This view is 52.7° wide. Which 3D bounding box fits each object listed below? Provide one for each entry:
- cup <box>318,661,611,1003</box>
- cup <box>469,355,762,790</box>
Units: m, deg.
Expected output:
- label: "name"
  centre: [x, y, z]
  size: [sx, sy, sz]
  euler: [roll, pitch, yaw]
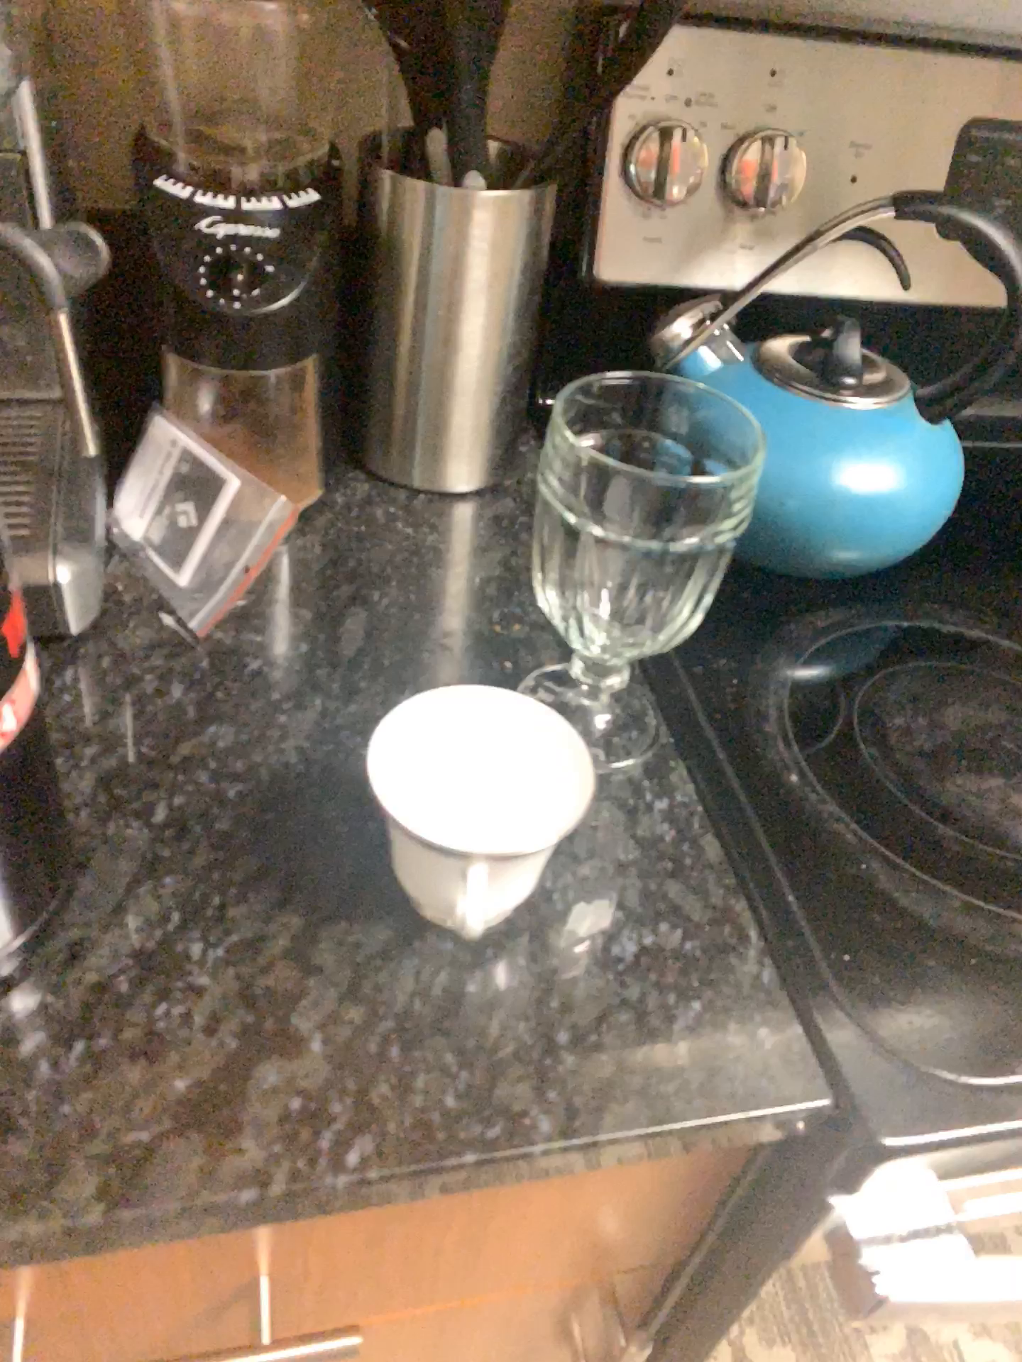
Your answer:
- label: "cup"
  centre: [-0.020, 0.058, 0.417]
  size: [0.100, 0.070, 0.111]
  euler: [5, 40, -5]
- label: "cup"
  centre: [0.039, -0.049, 0.502]
  size: [0.100, 0.169, 0.111]
  euler: [5, 40, -5]
